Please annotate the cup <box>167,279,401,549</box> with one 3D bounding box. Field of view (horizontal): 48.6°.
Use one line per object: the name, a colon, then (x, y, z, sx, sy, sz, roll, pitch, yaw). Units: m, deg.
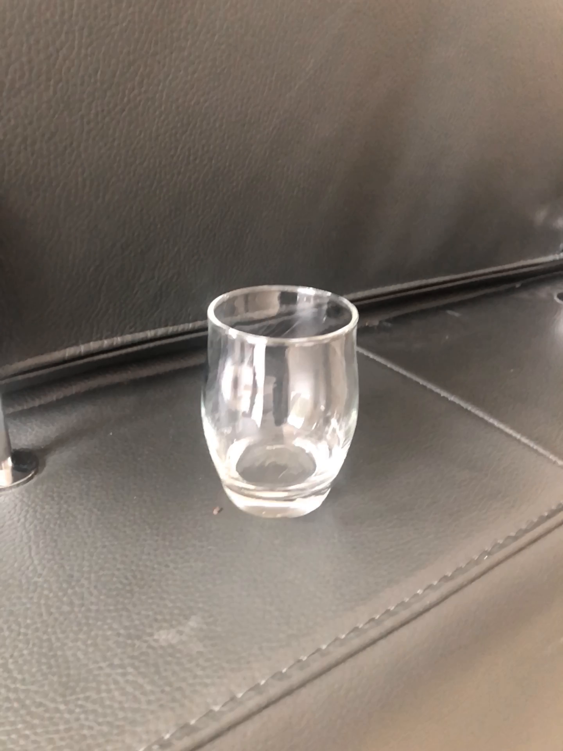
cup: (-0.004, 0.013, 0.300, 0.080, 0.089, 0.080, 2, 26, -1)
